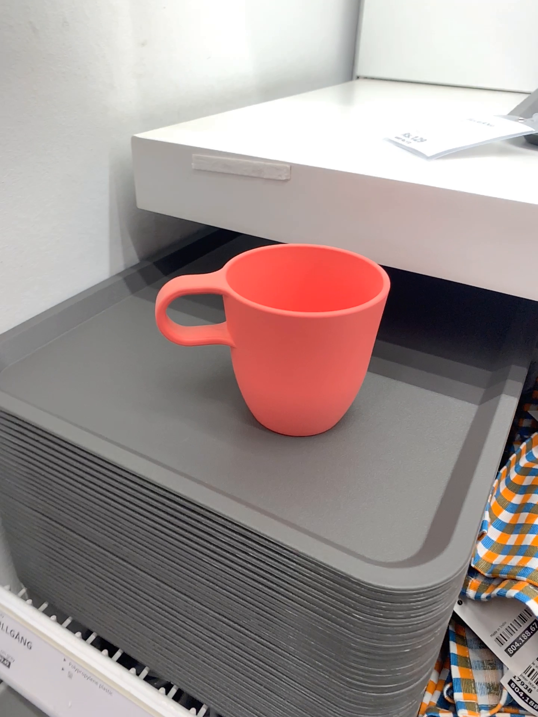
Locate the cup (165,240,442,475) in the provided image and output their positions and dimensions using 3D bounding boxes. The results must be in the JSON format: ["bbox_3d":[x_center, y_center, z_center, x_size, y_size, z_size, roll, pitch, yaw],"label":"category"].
[{"bbox_3d":[0.010,-0.005,0.274,0.110,0.080,0.070,-6,33,-14],"label":"cup"}]
